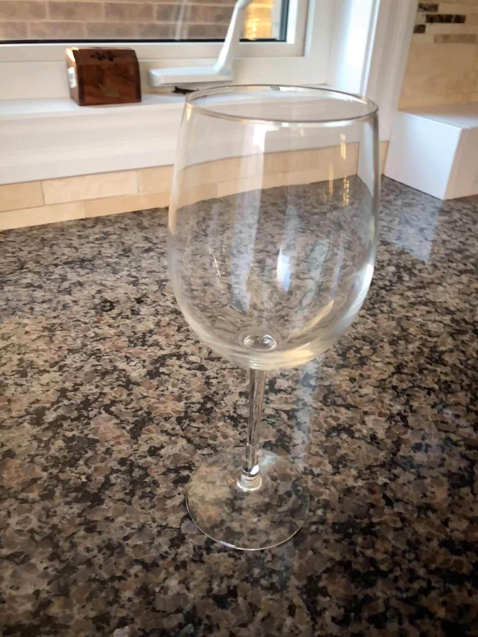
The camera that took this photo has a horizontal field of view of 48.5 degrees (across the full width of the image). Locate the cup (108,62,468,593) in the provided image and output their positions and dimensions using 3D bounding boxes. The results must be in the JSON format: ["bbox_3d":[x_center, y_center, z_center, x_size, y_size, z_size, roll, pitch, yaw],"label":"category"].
[{"bbox_3d":[0.008,0.005,0.252,0.095,0.217,0.098,2,32,-1],"label":"cup"}]
